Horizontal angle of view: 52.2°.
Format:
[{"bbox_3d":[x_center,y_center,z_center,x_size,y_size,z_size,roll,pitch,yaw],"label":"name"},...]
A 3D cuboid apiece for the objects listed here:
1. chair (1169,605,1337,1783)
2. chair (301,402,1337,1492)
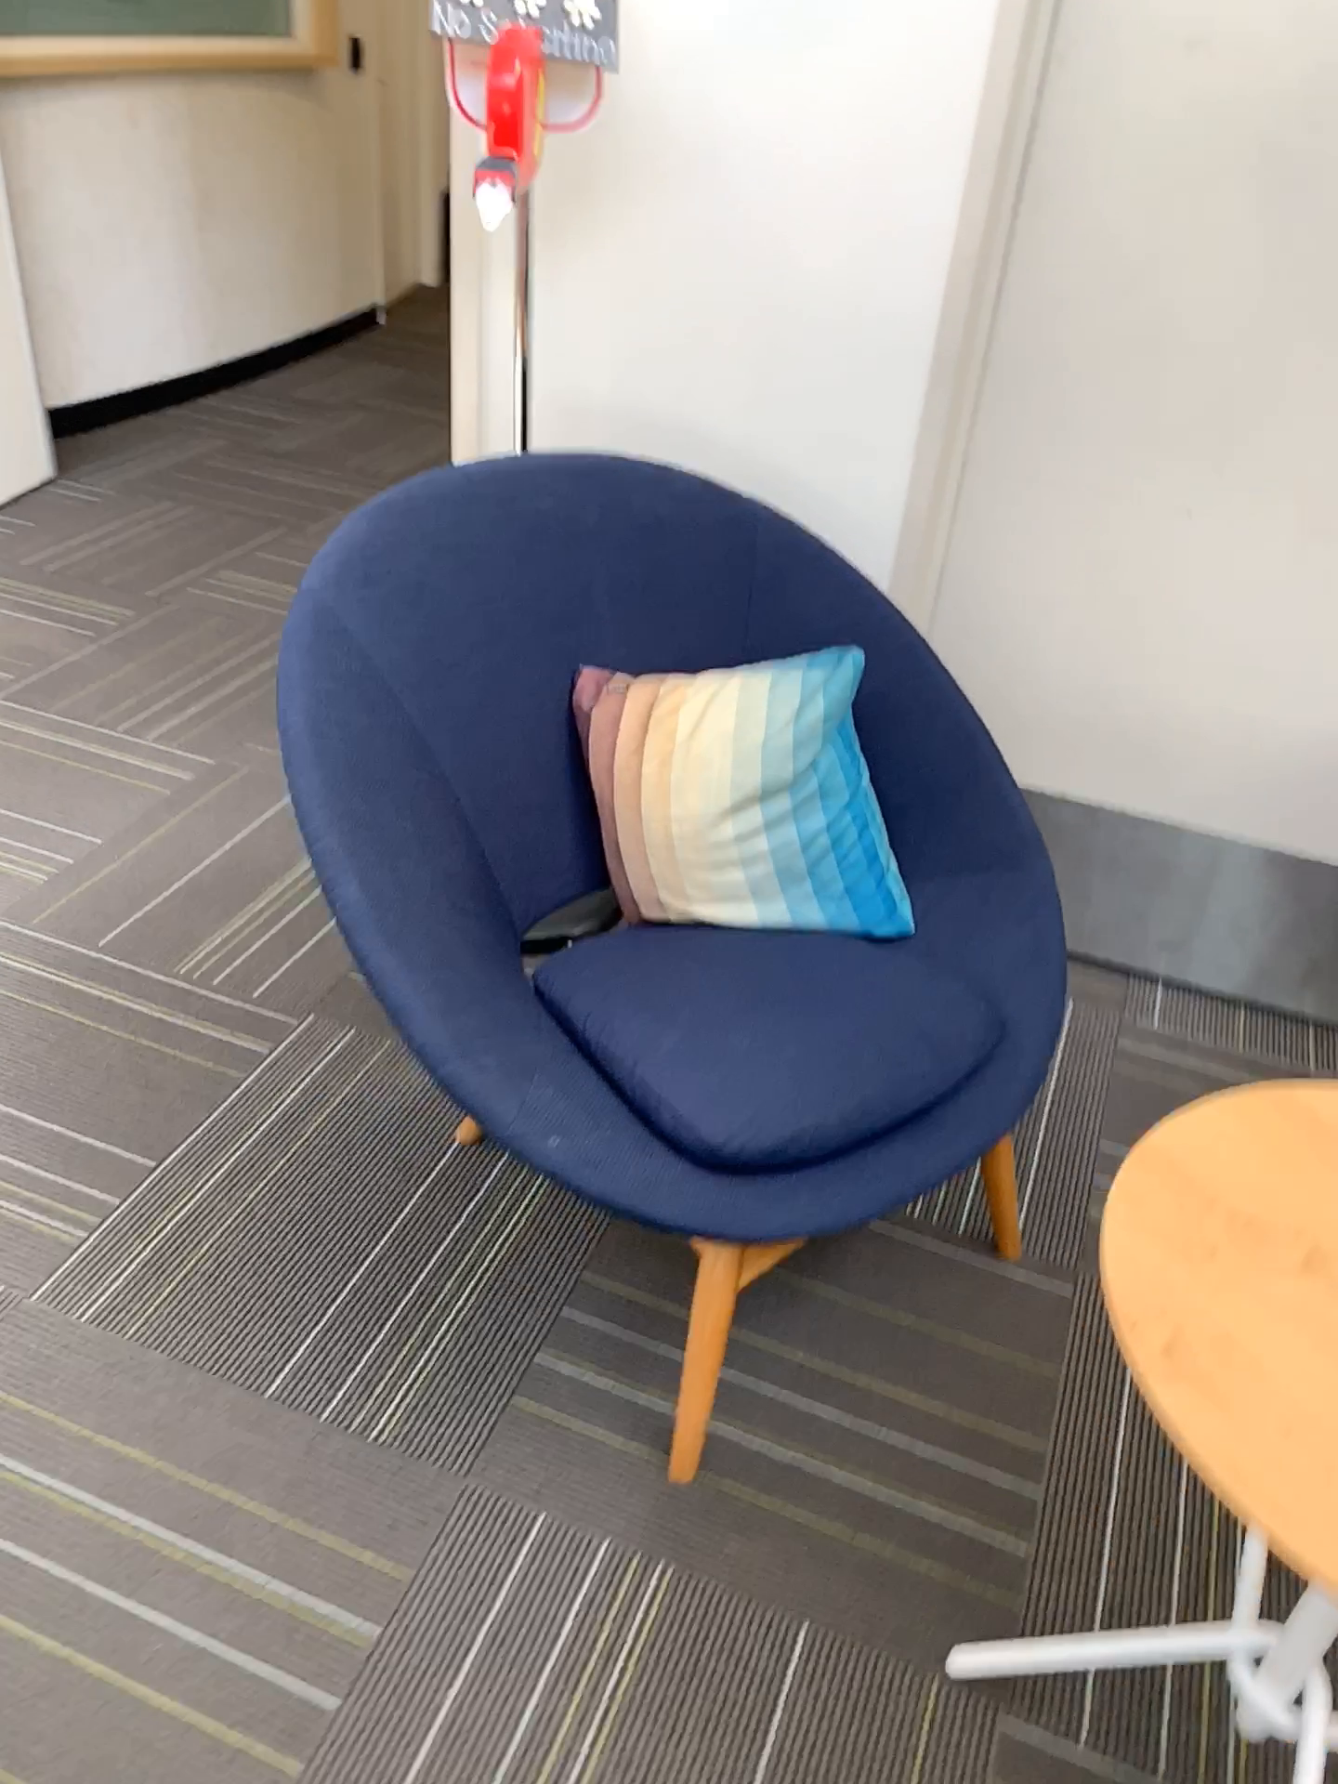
[{"bbox_3d":[1.322,0.354,1.448,0.980,0.945,0.834,-13,38,-26],"label":"chair"},{"bbox_3d":[0.103,-0.031,1.662,0.790,0.835,0.844,-15,39,-28],"label":"chair"}]
